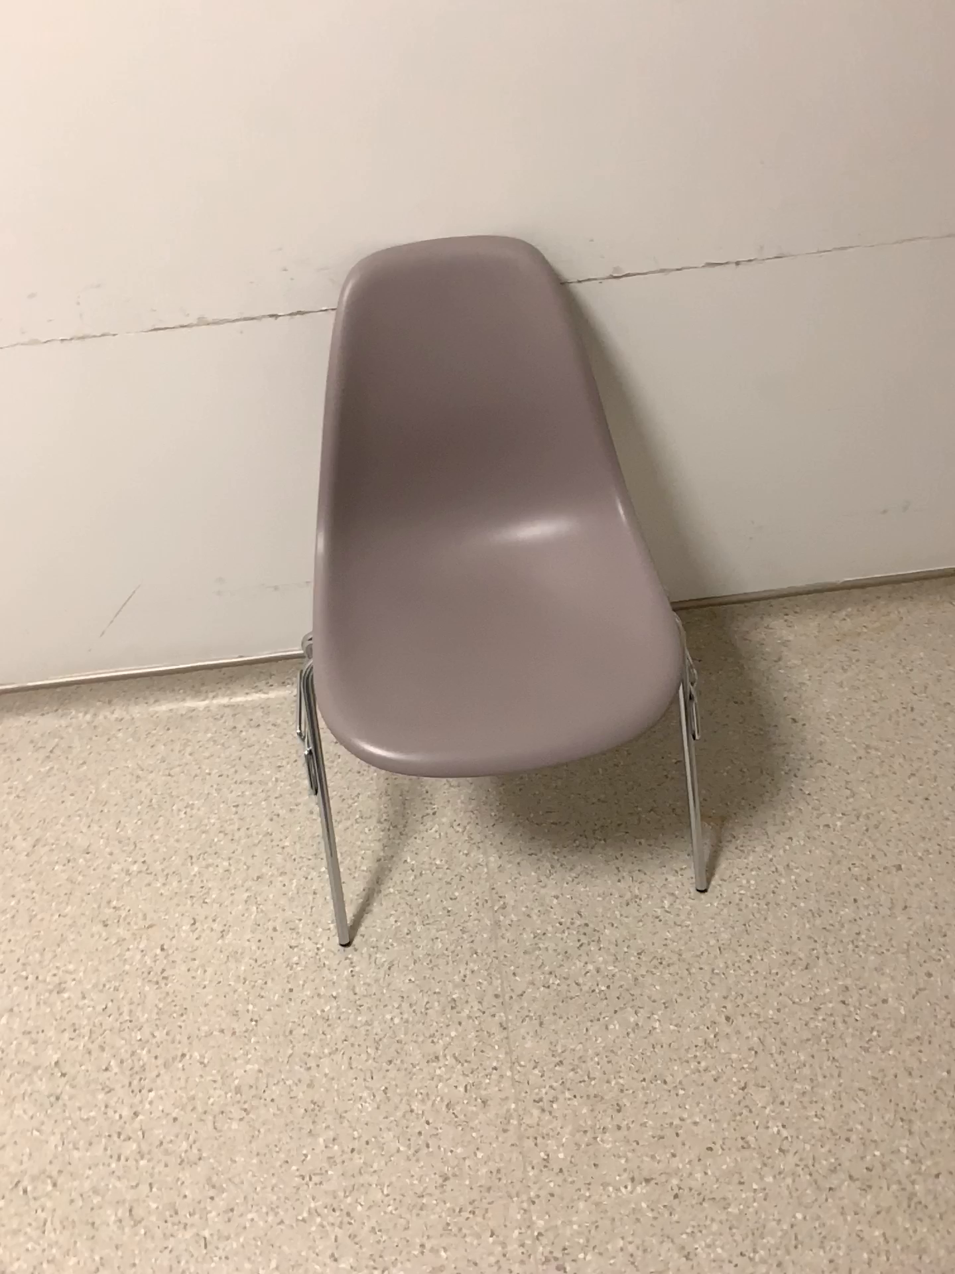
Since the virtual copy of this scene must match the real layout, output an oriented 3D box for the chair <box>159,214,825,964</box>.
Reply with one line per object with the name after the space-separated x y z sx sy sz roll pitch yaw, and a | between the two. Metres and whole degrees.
0.013 -0.031 1.307 0.580 0.783 0.545 -8 46 -1 | chair
